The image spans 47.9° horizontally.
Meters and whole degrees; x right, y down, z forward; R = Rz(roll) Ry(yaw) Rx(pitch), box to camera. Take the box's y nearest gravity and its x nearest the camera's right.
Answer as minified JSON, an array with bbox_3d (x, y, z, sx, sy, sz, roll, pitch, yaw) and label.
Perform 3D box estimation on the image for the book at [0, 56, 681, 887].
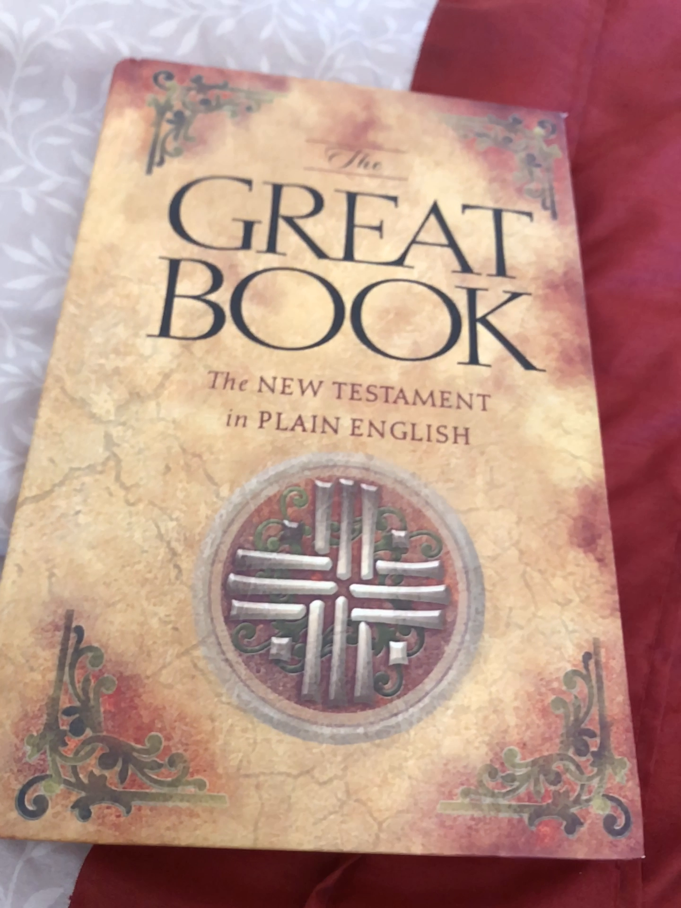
[{"bbox_3d":[0.001,-0.008,0.218,0.161,0.040,0.221,4,67,-4],"label":"book"}]
